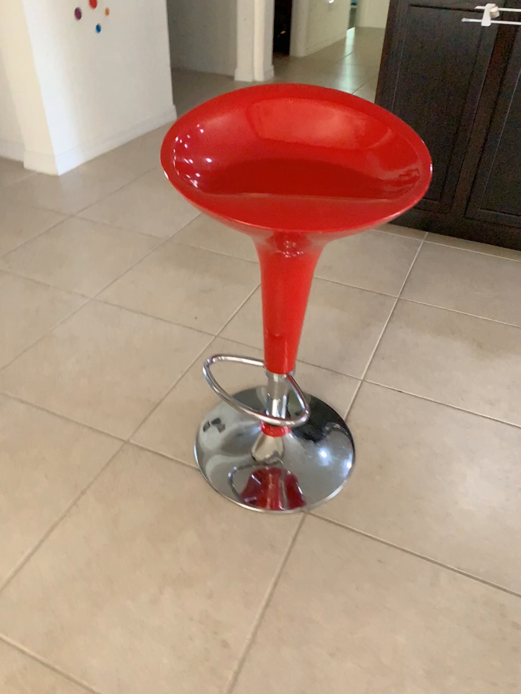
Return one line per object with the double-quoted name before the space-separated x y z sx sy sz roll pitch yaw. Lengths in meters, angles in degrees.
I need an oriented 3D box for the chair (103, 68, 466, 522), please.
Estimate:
"chair" 0.033 -0.085 1.031 0.437 0.726 0.436 4 38 3
